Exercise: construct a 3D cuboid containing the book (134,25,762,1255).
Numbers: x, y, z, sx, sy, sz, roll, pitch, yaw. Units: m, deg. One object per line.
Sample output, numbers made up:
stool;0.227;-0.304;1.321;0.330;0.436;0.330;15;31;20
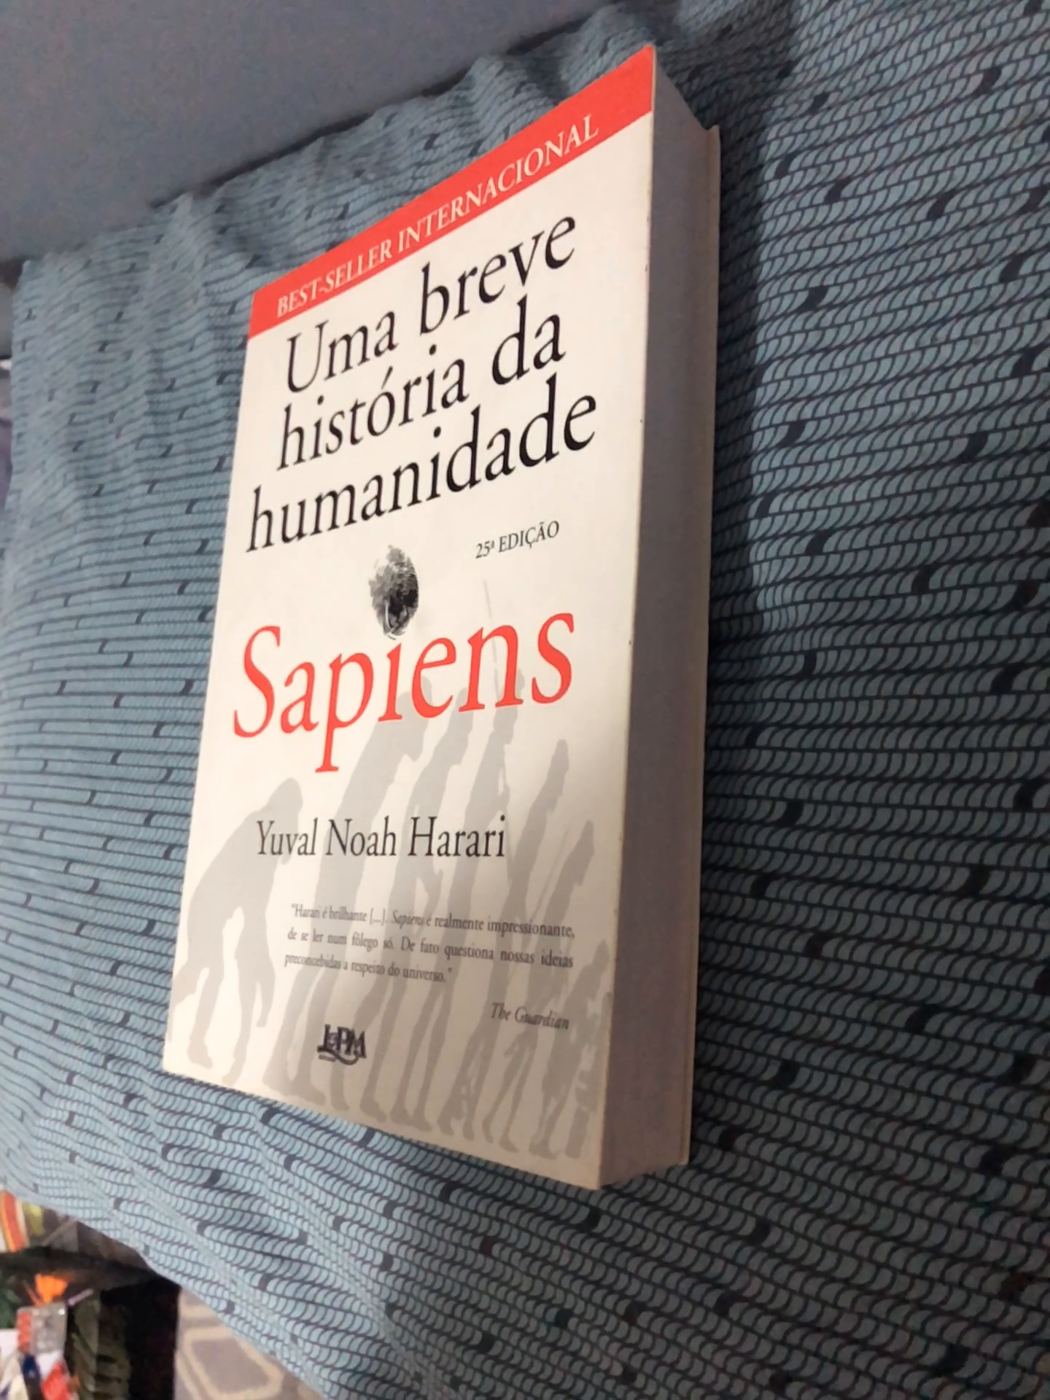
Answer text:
book;-0.024;-0.013;0.290;0.161;0.040;0.240;-8;74;43
